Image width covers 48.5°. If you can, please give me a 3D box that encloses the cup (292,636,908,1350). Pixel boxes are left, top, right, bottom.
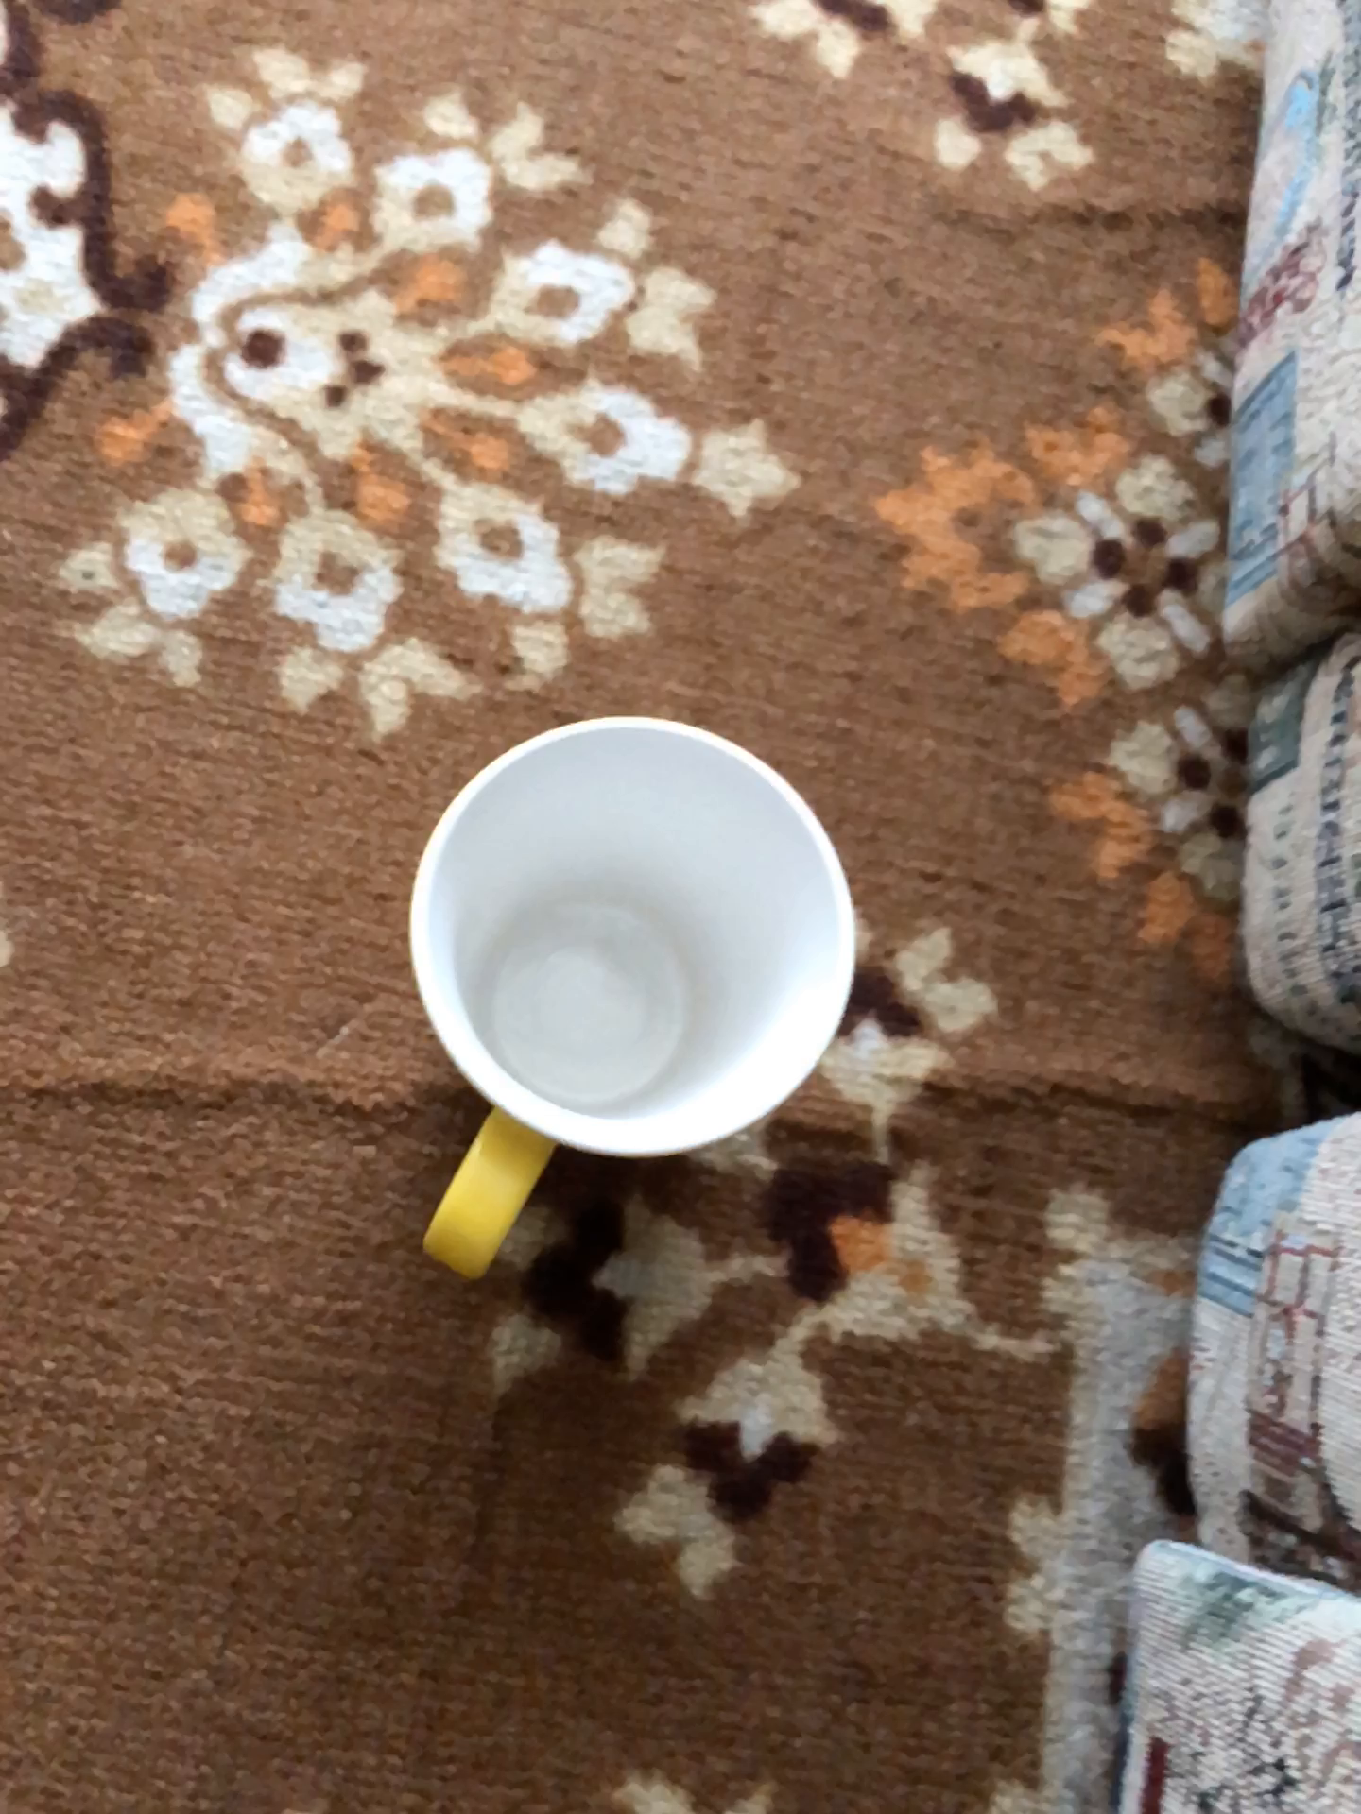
[{"bbox_3d":[-0.020,0.025,0.348,0.097,0.088,0.125,17,73,-7],"label":"cup"}]
